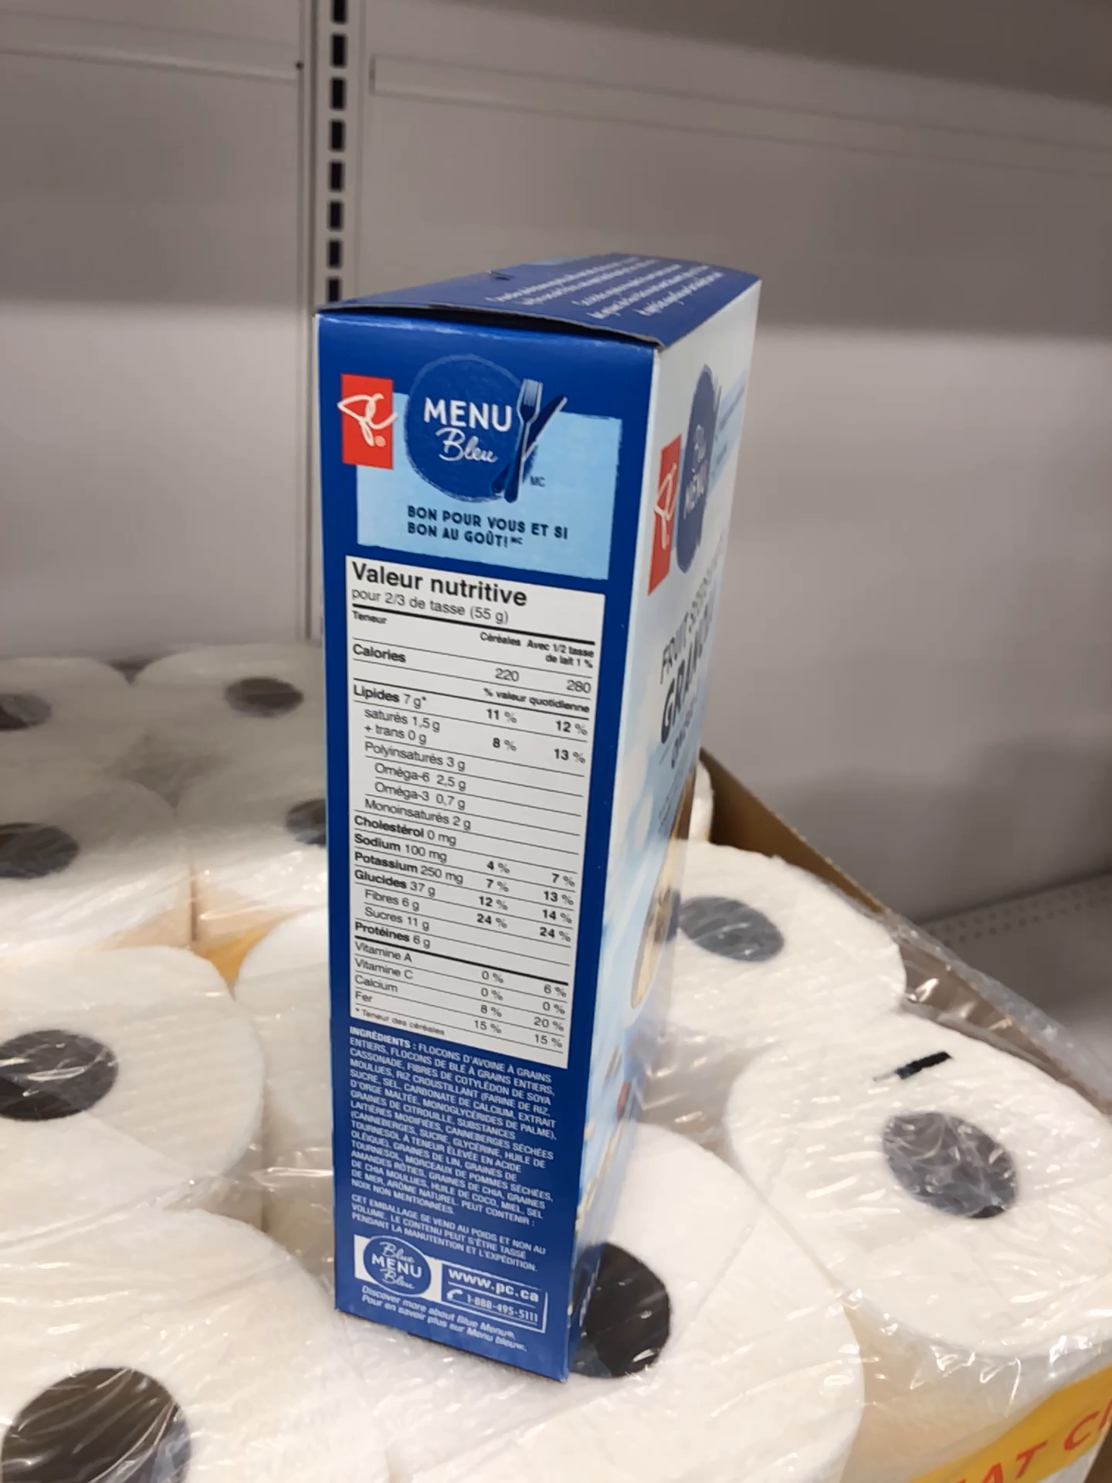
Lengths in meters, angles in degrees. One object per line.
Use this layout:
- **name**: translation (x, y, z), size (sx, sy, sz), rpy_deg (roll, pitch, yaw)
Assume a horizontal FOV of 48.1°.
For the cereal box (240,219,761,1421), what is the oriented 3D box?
- **cereal box**: translation (-0.006, 0.007, 0.304), size (0.060, 0.239, 0.161), rpy_deg (10, 26, 12)
